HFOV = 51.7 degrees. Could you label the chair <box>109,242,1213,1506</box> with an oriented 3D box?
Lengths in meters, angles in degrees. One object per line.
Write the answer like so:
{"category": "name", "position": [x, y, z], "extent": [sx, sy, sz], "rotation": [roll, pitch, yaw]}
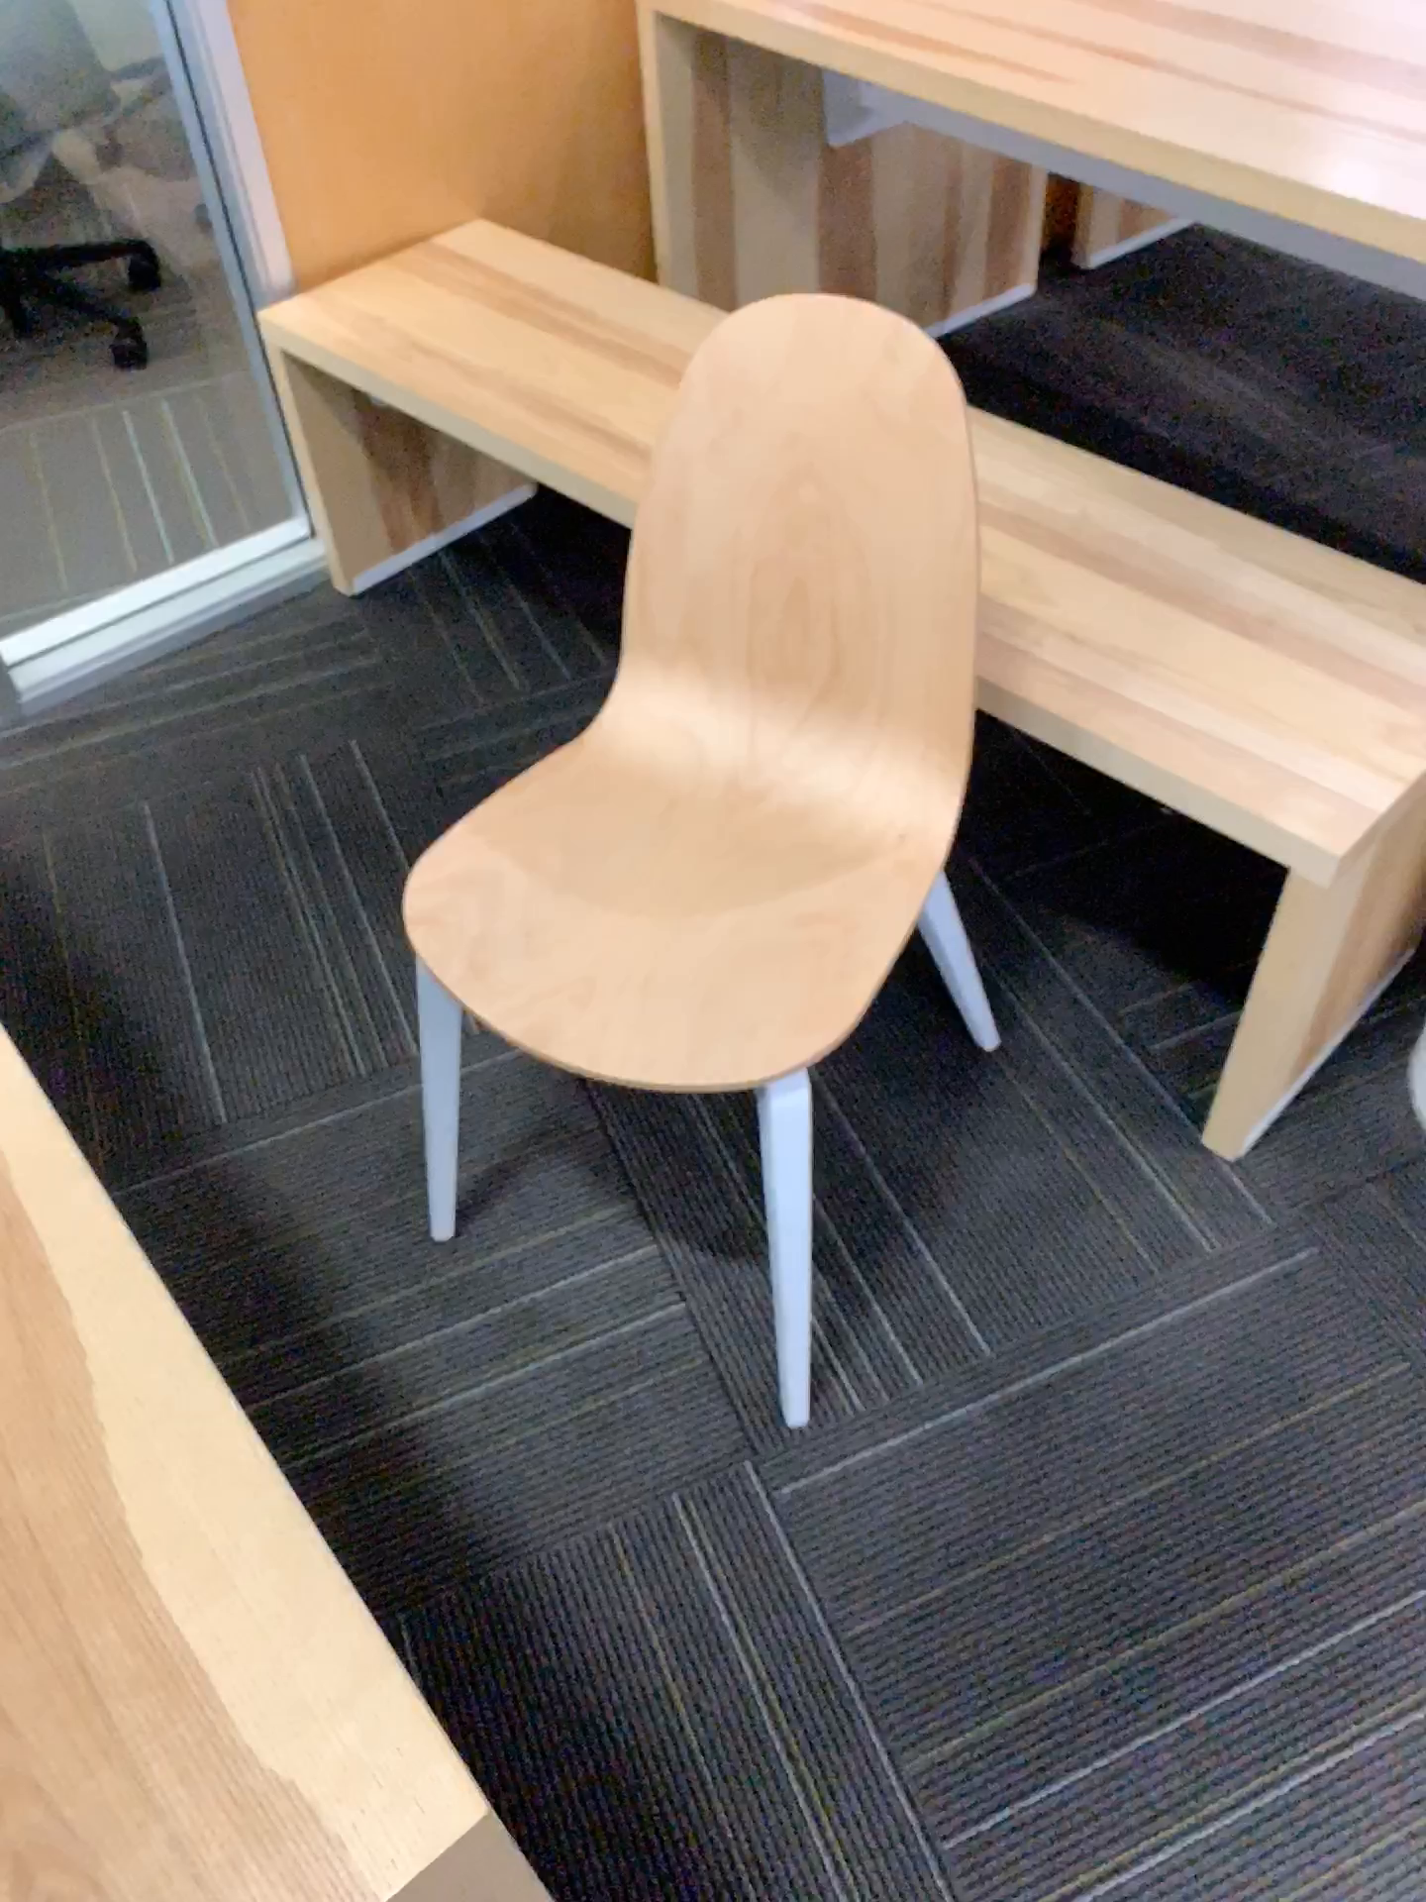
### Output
{"category": "chair", "position": [0.024, -0.068, 1.295], "extent": [0.521, 0.766, 0.652], "rotation": [18, 51, 20]}
